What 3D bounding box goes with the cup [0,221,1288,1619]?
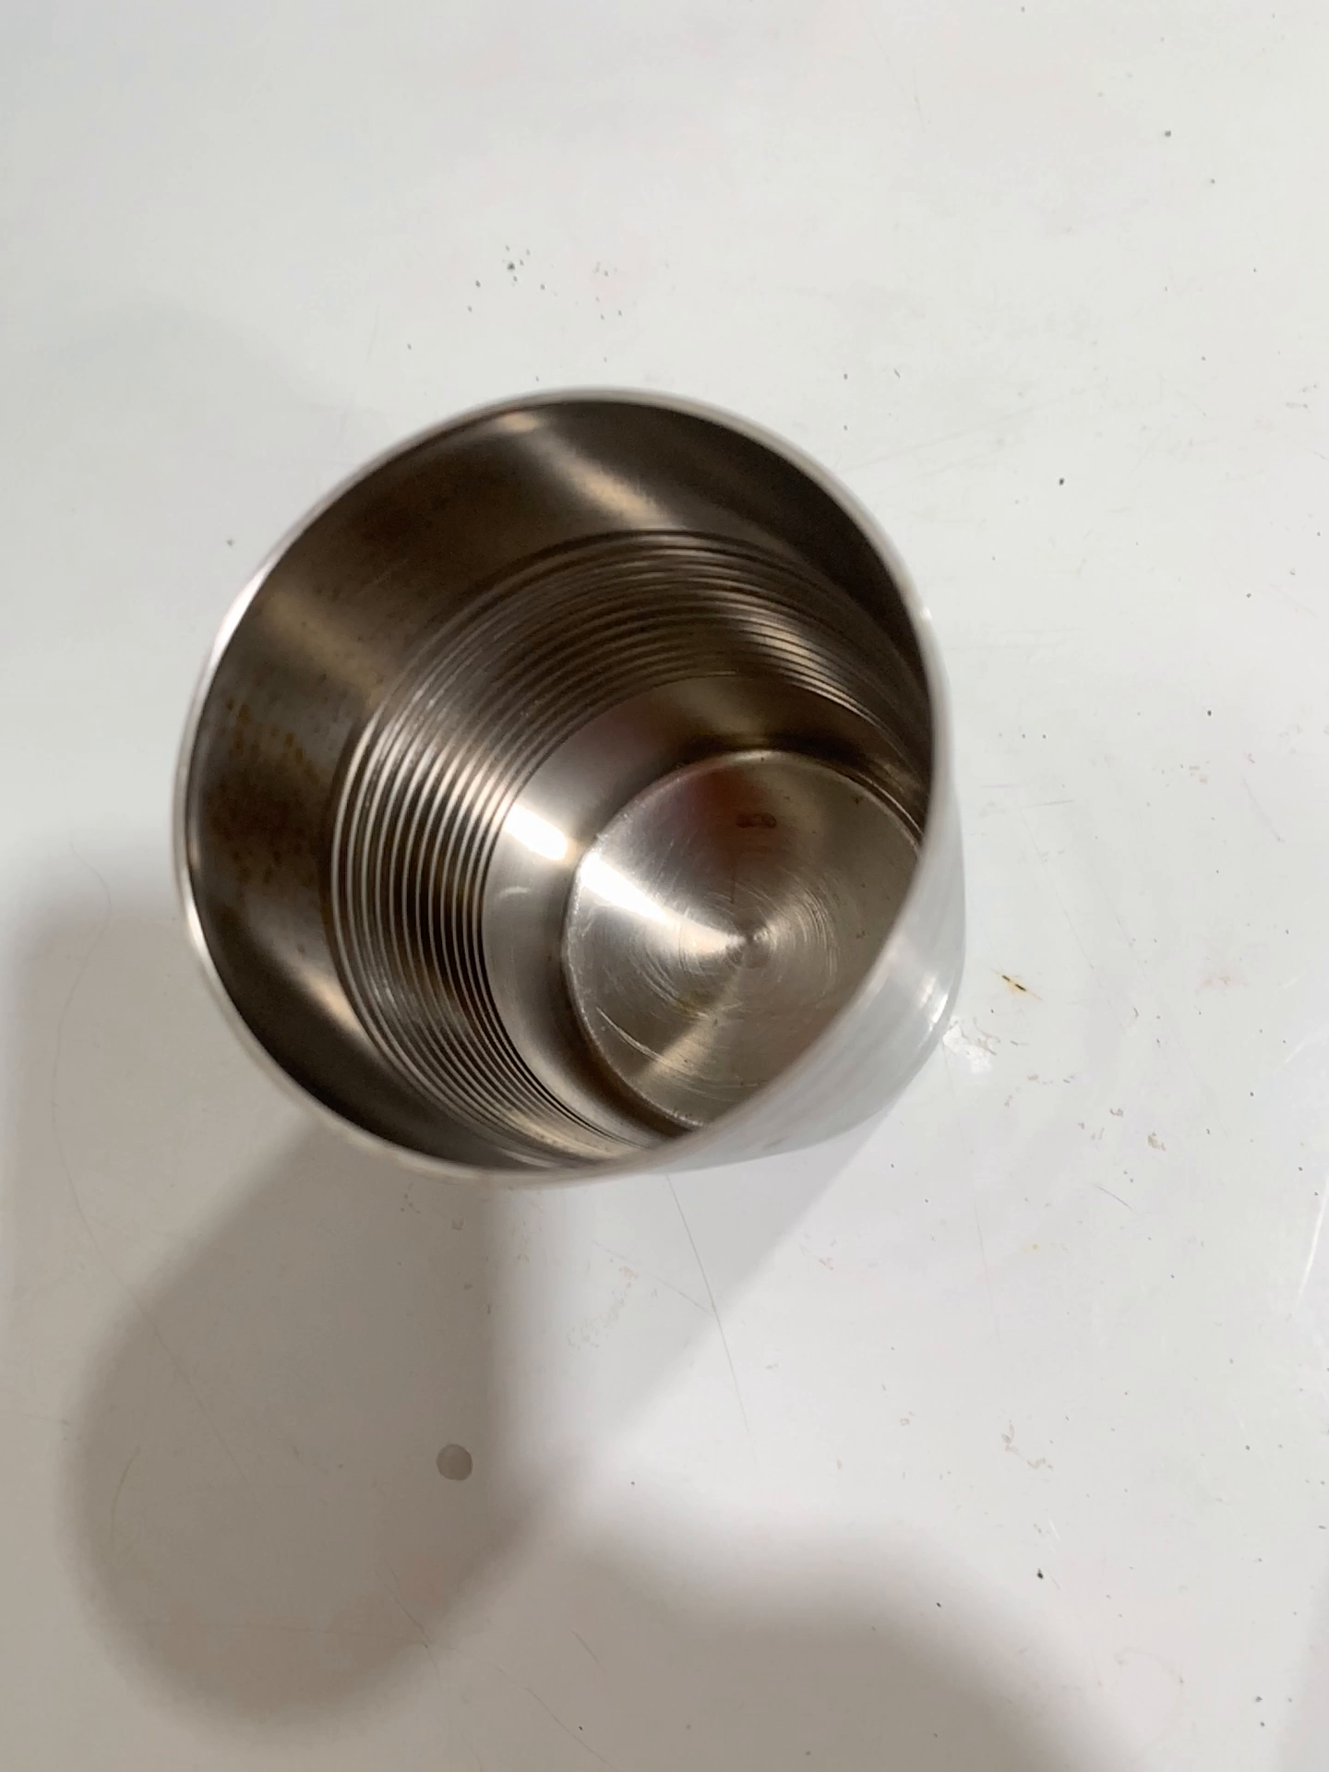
[{"bbox_3d":[0.002,0.007,0.142,0.070,0.096,0.070,-3,78,14],"label":"cup"}]
